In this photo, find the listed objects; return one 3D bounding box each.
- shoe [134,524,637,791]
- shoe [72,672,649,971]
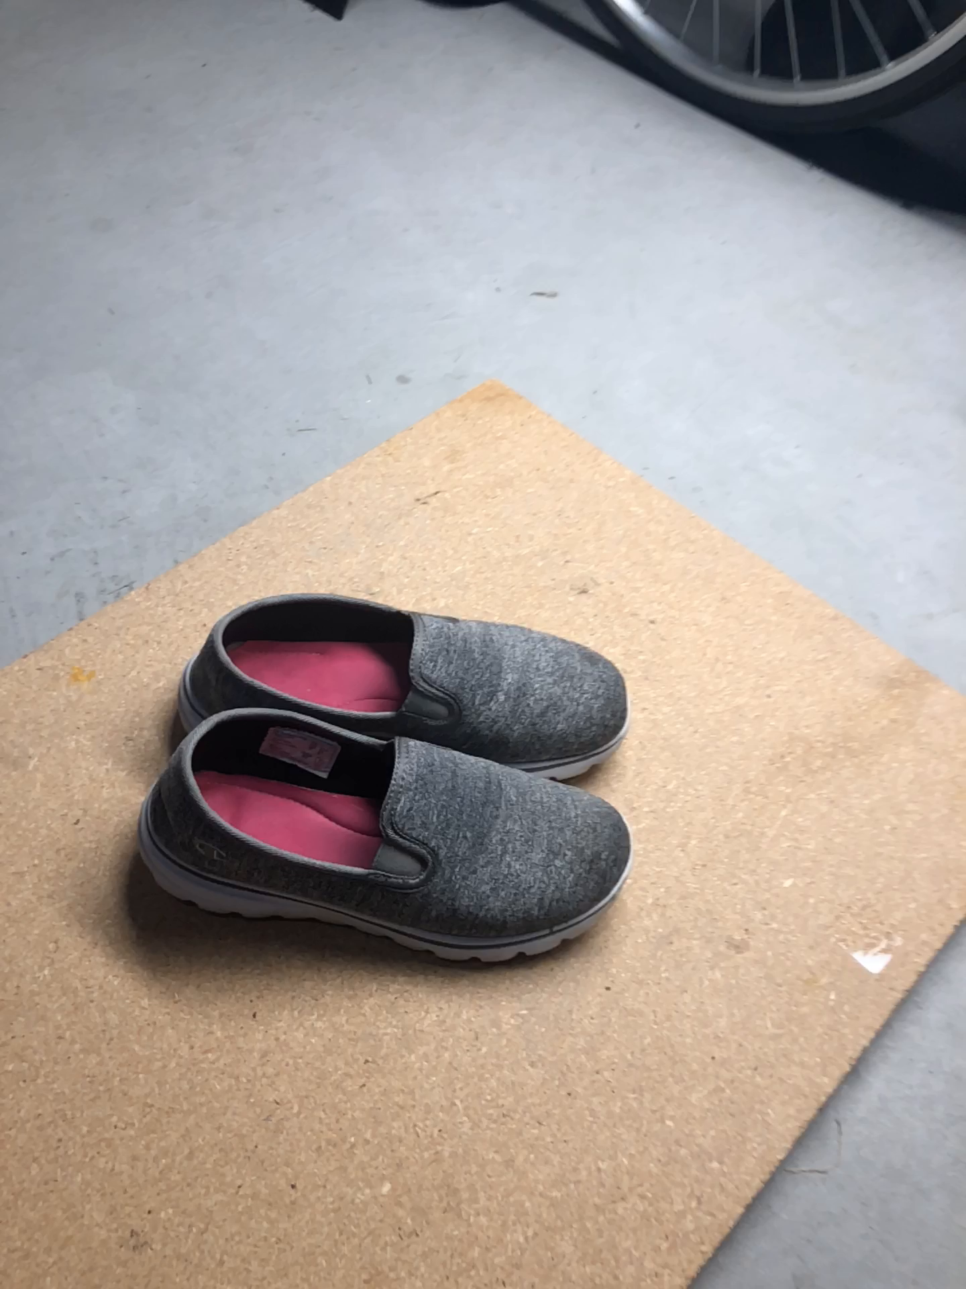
[{"bbox_3d":[-0.047,0.007,0.588,0.250,0.073,0.100,5,51,-1],"label":"shoe"},{"bbox_3d":[-0.052,0.086,0.520,0.250,0.070,0.100,5,51,-1],"label":"shoe"}]
